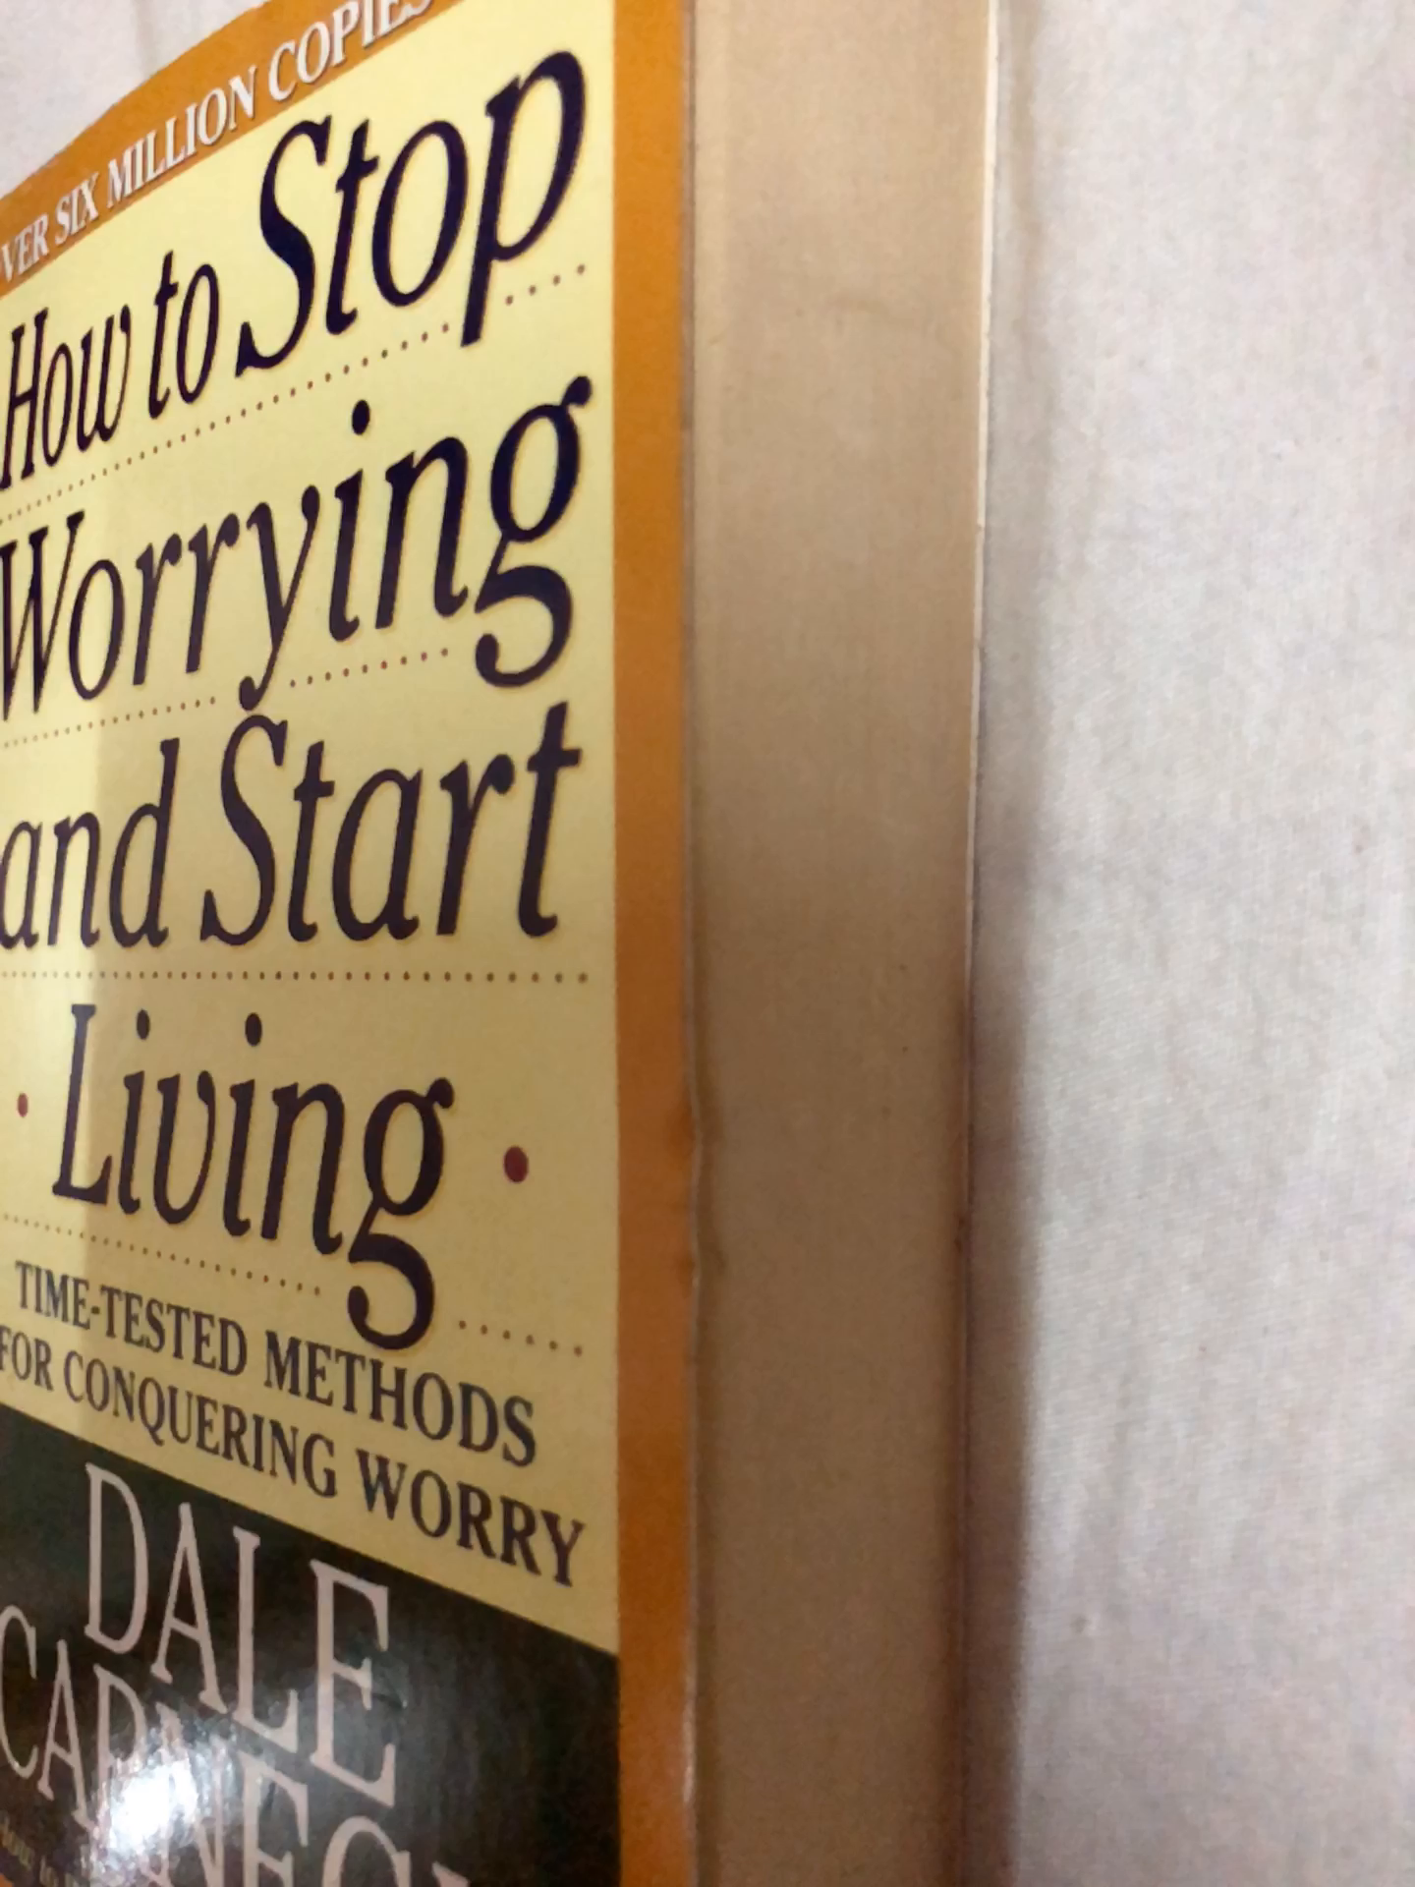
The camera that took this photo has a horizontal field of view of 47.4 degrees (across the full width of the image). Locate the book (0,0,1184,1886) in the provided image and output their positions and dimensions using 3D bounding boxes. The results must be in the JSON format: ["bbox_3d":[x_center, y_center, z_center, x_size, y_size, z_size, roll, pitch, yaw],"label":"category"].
[{"bbox_3d":[-0.022,0.007,0.140,0.110,0.050,0.170,0,88,39],"label":"book"}]
